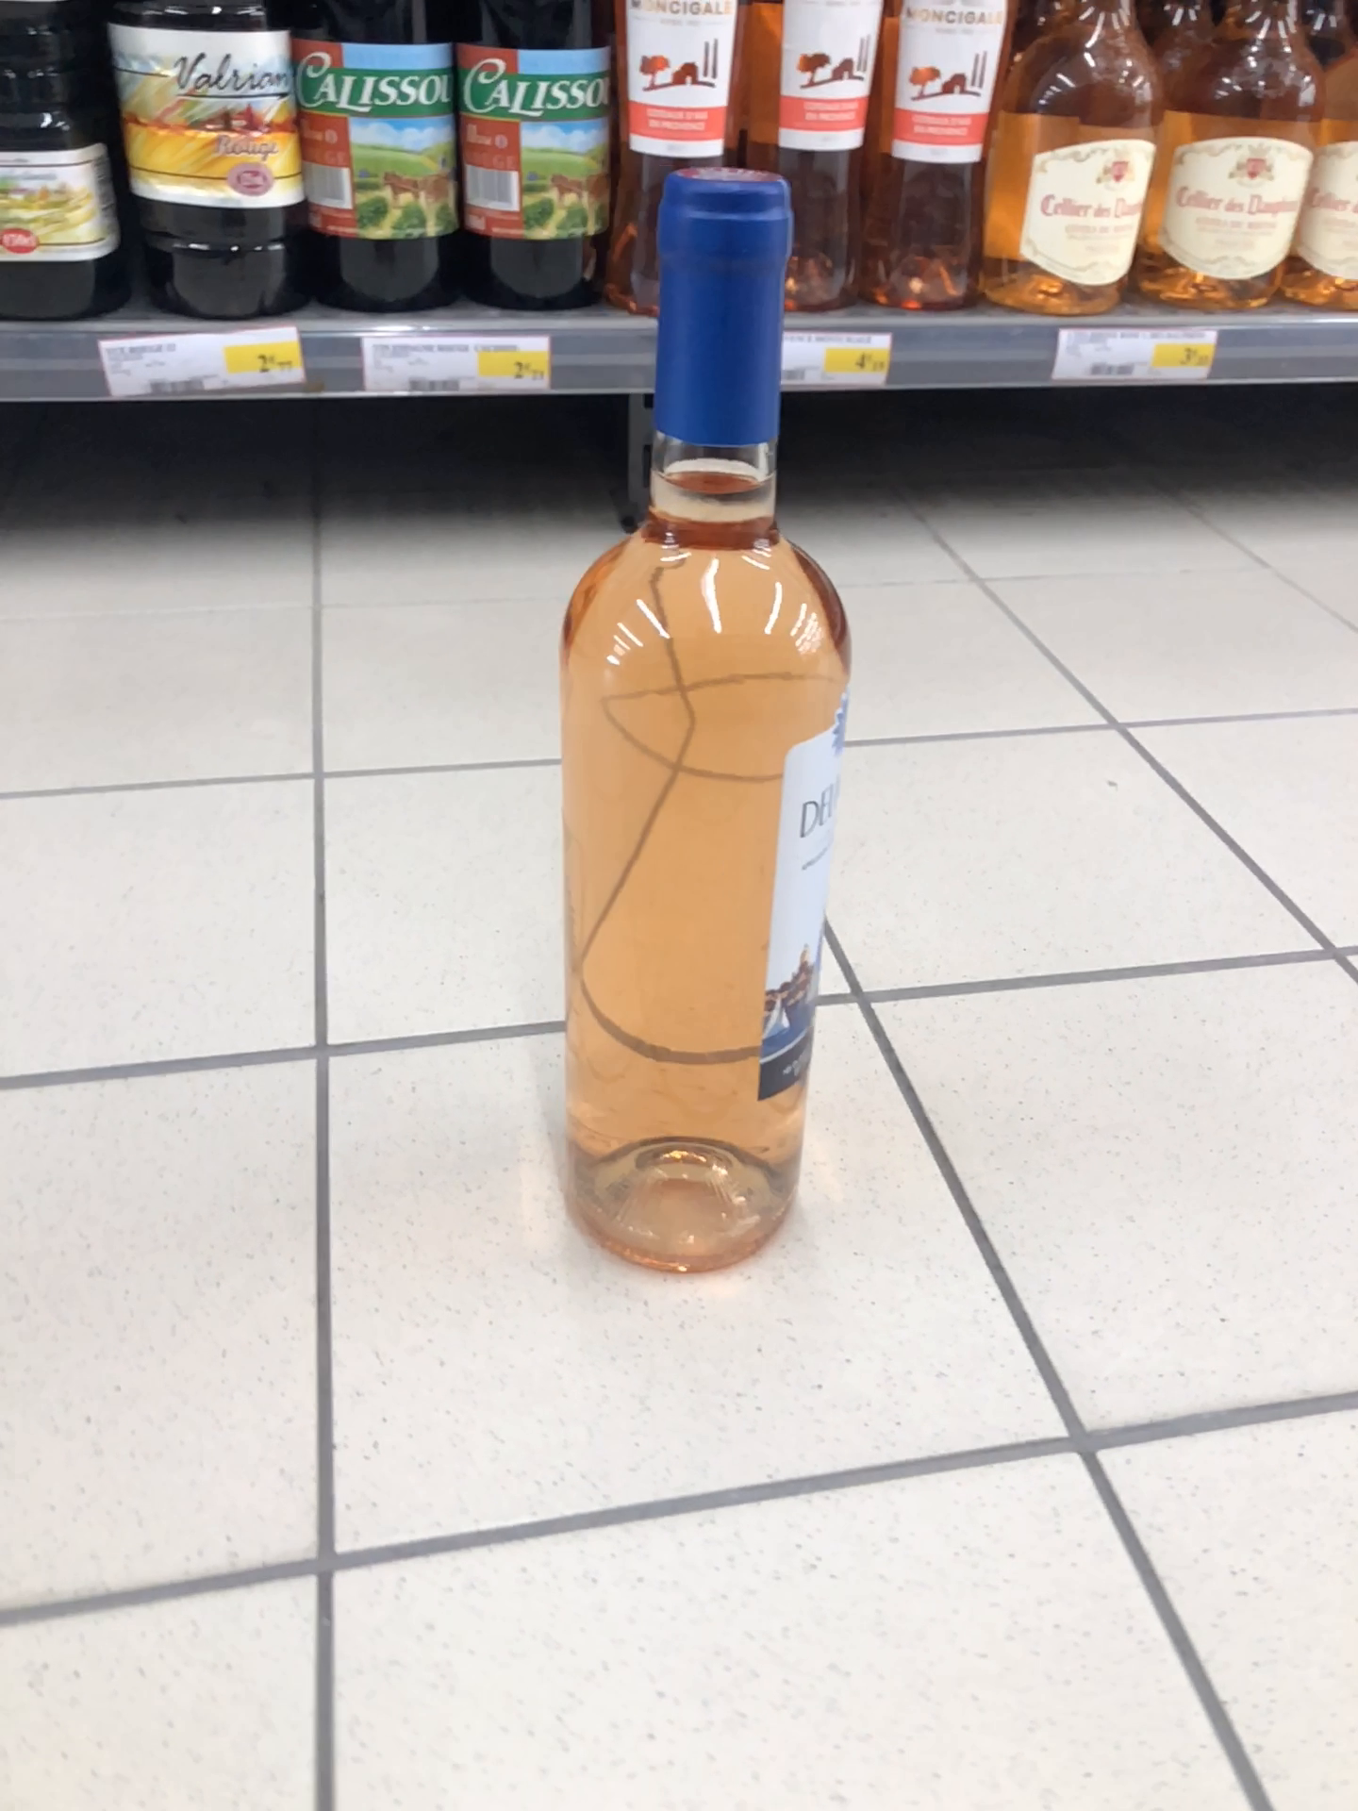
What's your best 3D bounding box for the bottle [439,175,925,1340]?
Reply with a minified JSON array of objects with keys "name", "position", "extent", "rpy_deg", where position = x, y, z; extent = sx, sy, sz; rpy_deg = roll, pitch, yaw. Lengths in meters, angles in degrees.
[{"name":"bottle","position":[-0.001,-0.026,0.394],"extent":[0.080,0.288,0.081],"rpy_deg":[2,32,-1]}]
